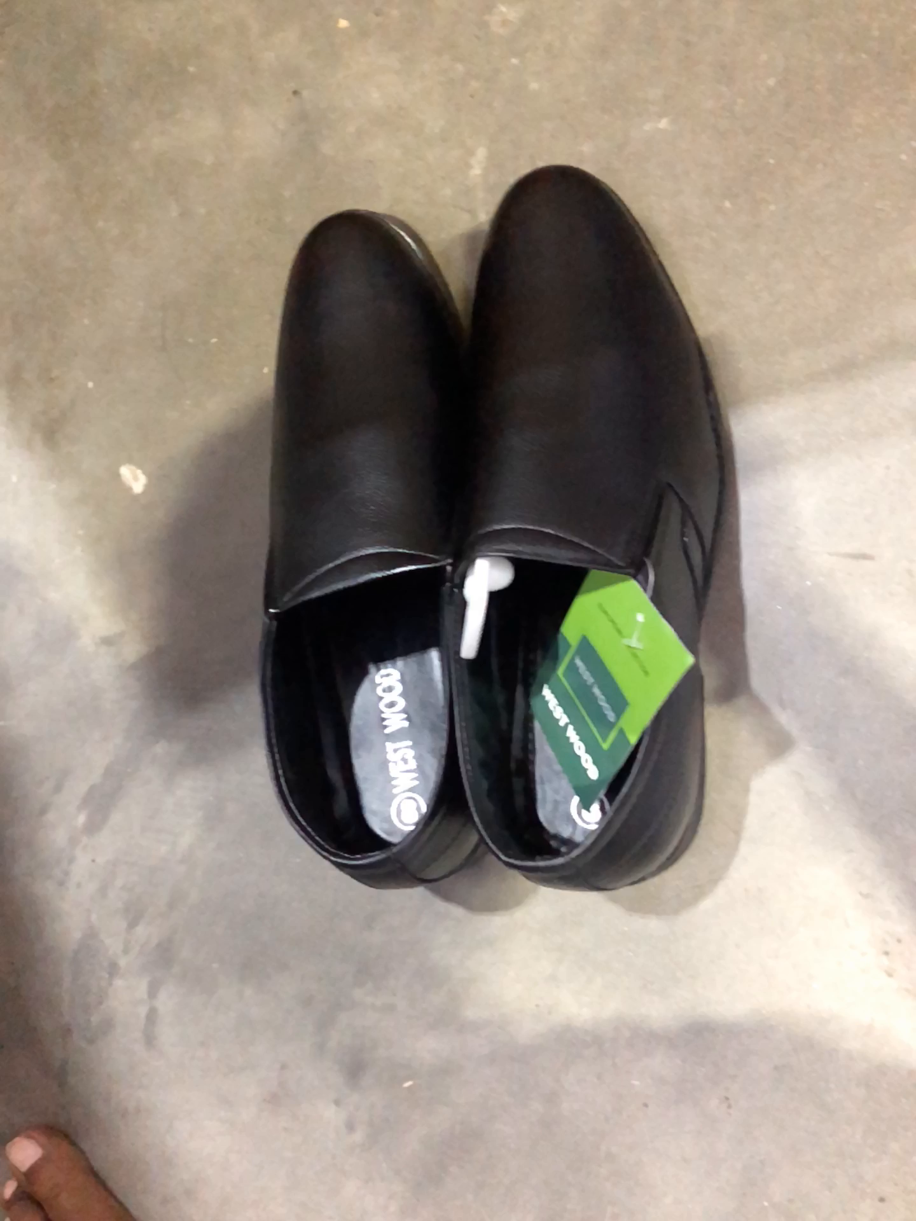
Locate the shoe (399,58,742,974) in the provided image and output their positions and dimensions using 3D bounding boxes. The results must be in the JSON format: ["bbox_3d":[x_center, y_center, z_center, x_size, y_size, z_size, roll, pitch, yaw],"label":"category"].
[{"bbox_3d":[0.046,-0.030,0.389,0.100,0.090,0.300,-3,87,20],"label":"shoe"}]

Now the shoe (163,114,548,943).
[{"bbox_3d":[-0.039,-0.027,0.425,0.100,0.100,0.300,-7,86,20],"label":"shoe"}]
